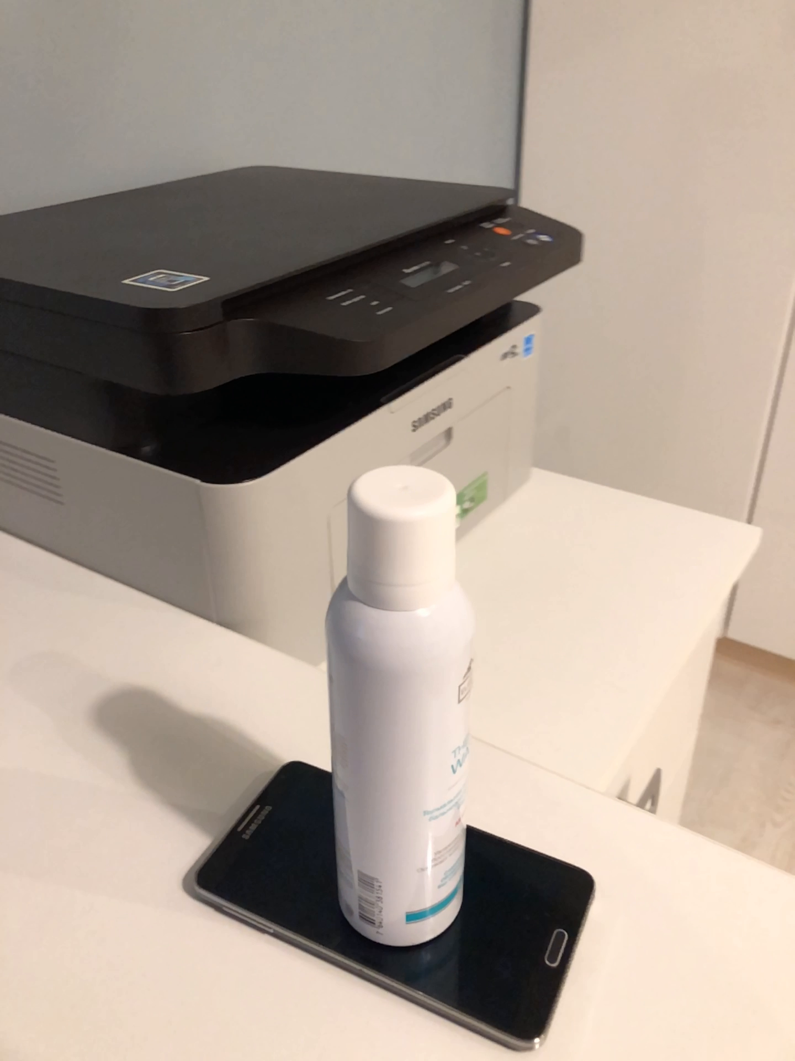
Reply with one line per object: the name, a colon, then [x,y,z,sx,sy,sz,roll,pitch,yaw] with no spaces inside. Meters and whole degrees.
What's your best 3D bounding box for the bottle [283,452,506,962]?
bottle: [0.002,0.066,0.303,0.059,0.175,0.054,0,30,0]
